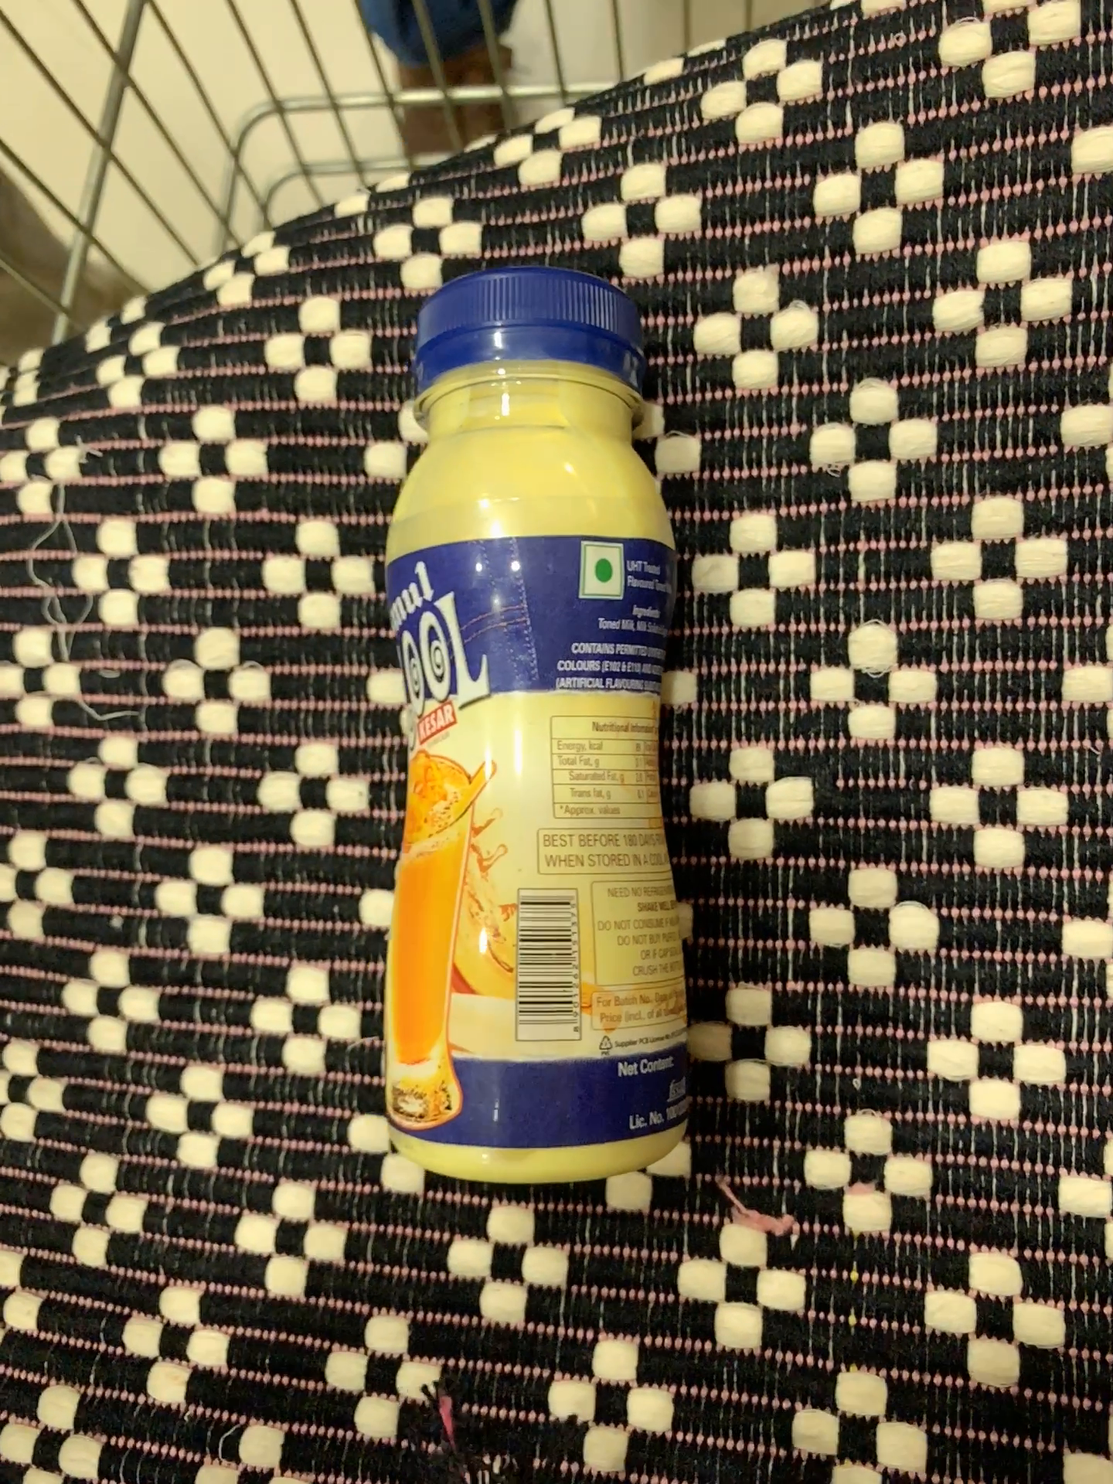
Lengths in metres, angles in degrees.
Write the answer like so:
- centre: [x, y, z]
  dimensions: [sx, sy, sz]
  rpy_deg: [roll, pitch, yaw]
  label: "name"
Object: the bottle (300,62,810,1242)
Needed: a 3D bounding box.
- centre: [-0.001, -0.012, 0.196]
  dimensions: [0.060, 0.060, 0.160]
  rpy_deg: [5, 83, -29]
  label: "bottle"
